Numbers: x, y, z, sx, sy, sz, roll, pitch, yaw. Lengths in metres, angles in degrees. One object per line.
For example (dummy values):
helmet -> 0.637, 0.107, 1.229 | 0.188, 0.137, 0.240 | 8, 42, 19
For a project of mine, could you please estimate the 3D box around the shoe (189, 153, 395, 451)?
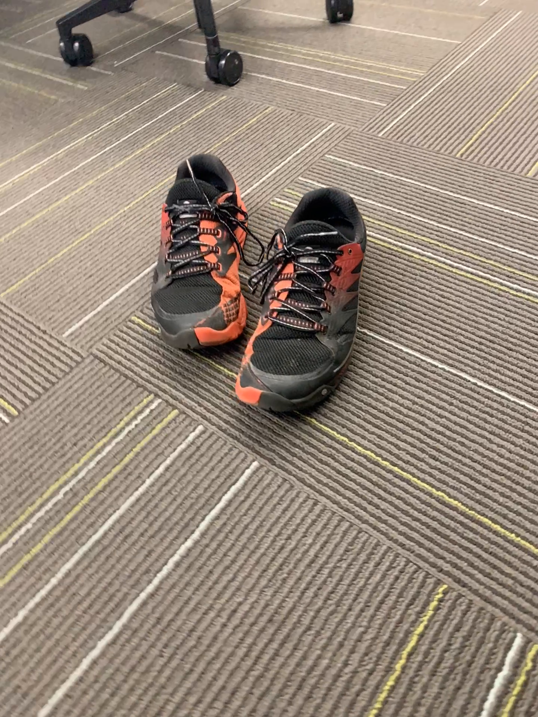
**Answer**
shoe -> 0.044, -0.080, 0.610 | 0.130, 0.129, 0.321 | 10, 52, 15

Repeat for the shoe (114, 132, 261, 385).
shoe -> -0.085, -0.135, 0.679 | 0.130, 0.129, 0.312 | -5, 49, 3
